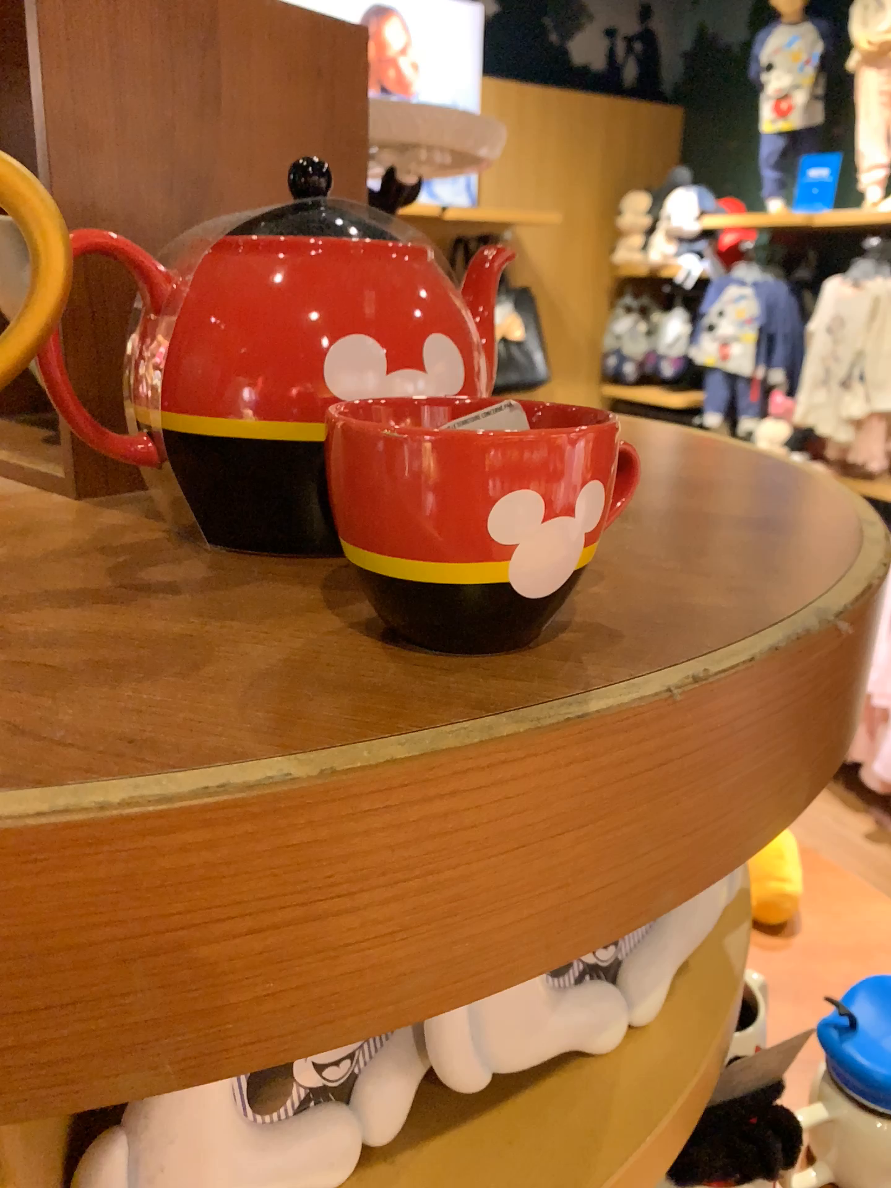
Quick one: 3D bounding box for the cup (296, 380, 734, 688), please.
[{"bbox_3d":[0.017,-0.025,0.276,0.100,0.066,0.078,-8,20,-27],"label":"cup"}]
